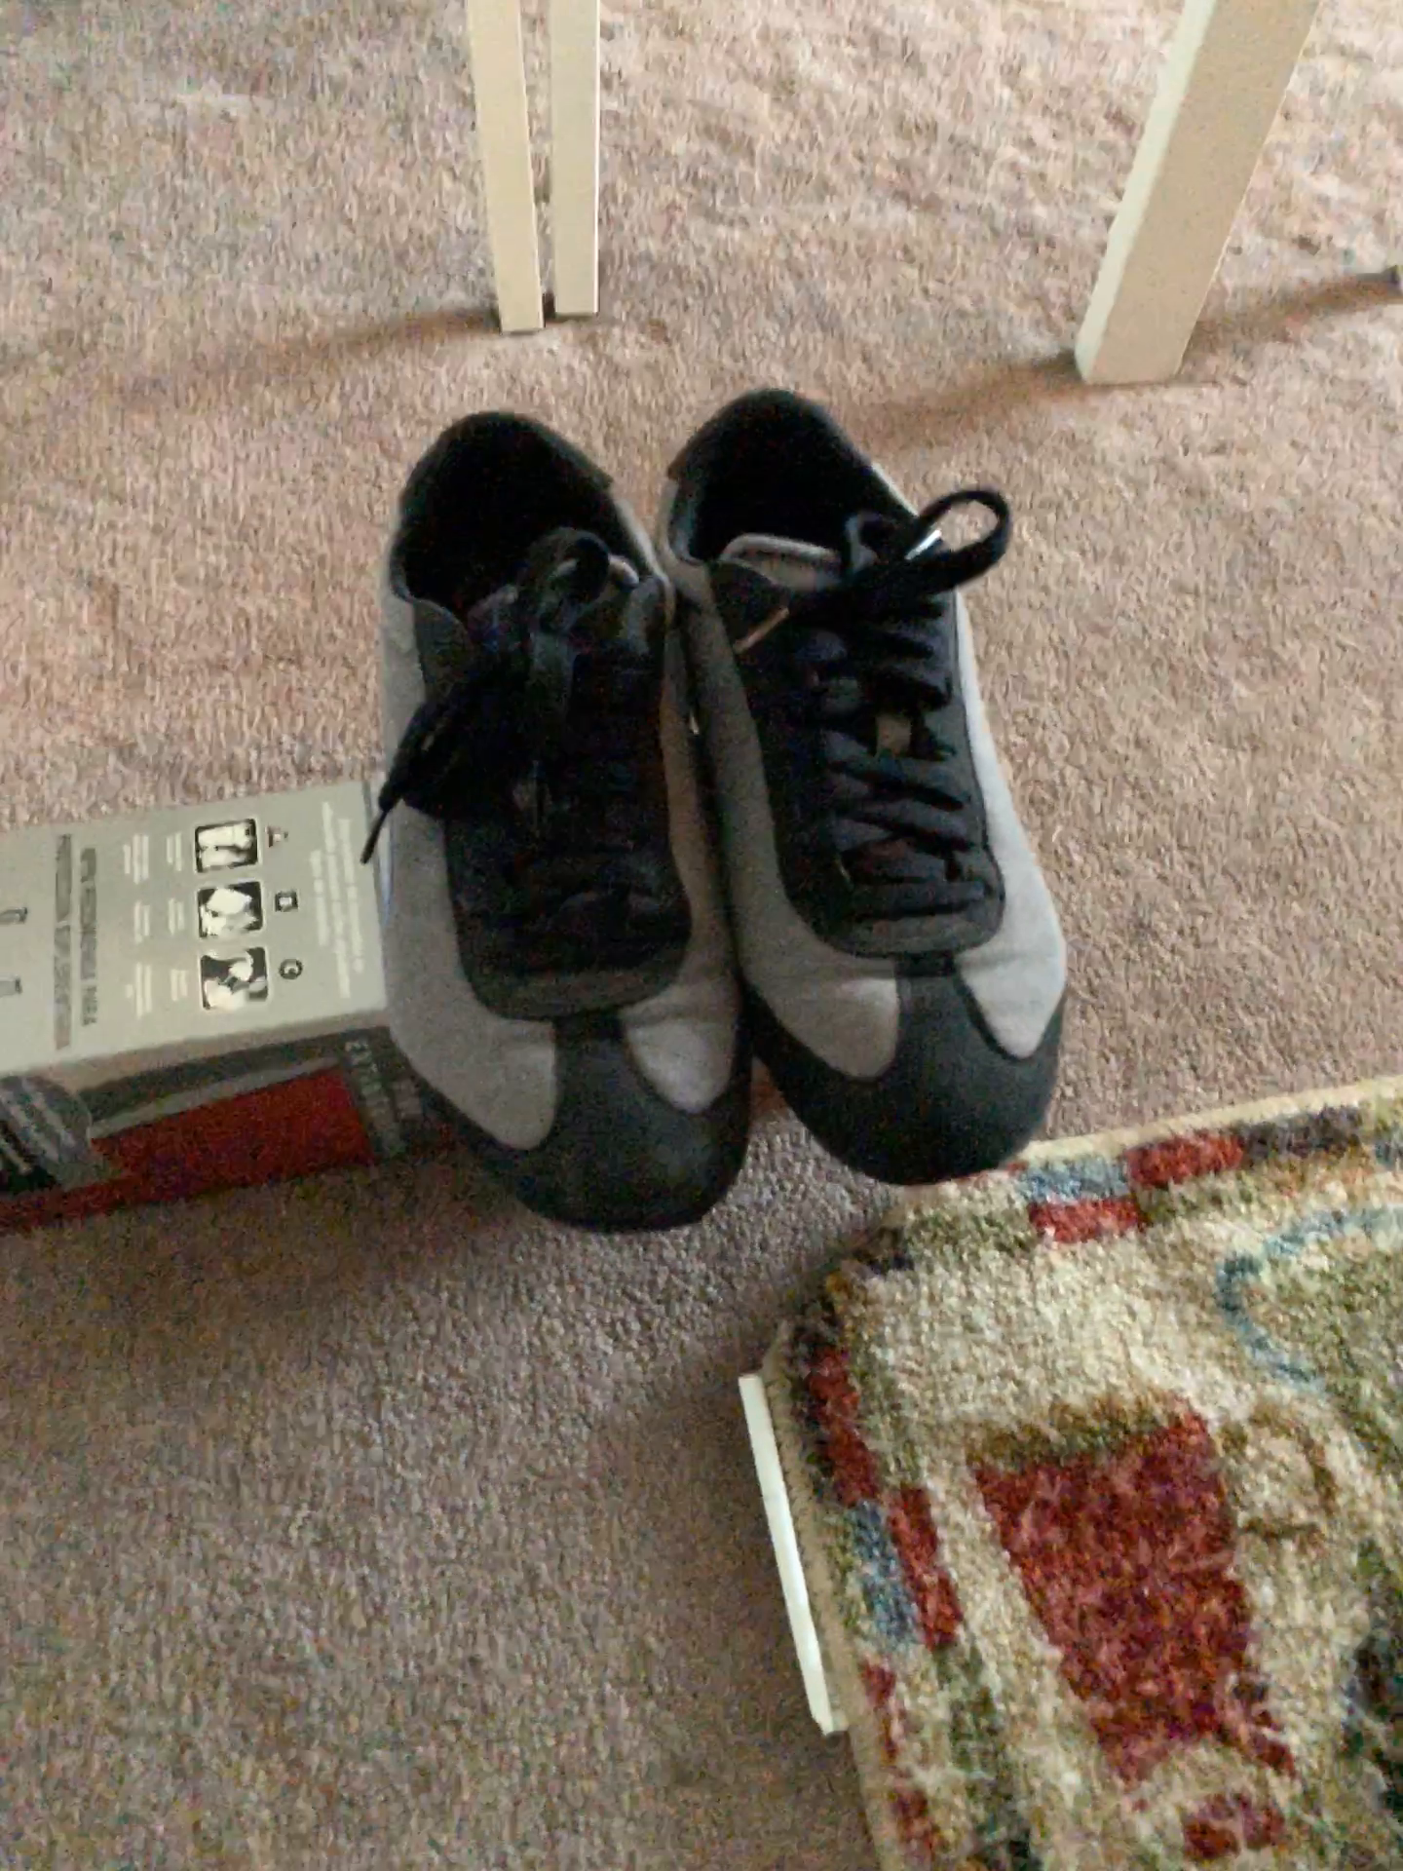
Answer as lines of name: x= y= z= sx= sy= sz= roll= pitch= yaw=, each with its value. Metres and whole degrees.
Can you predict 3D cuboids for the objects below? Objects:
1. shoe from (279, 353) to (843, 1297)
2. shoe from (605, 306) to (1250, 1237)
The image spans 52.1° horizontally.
shoe: x=-0.045 y=-0.038 z=0.385 sx=0.100 sy=0.089 sz=0.231 roll=-9 pitch=60 yaw=-8
shoe: x=0.044 y=-0.054 z=0.409 sx=0.100 sy=0.099 sz=0.242 roll=-9 pitch=60 yaw=-8
